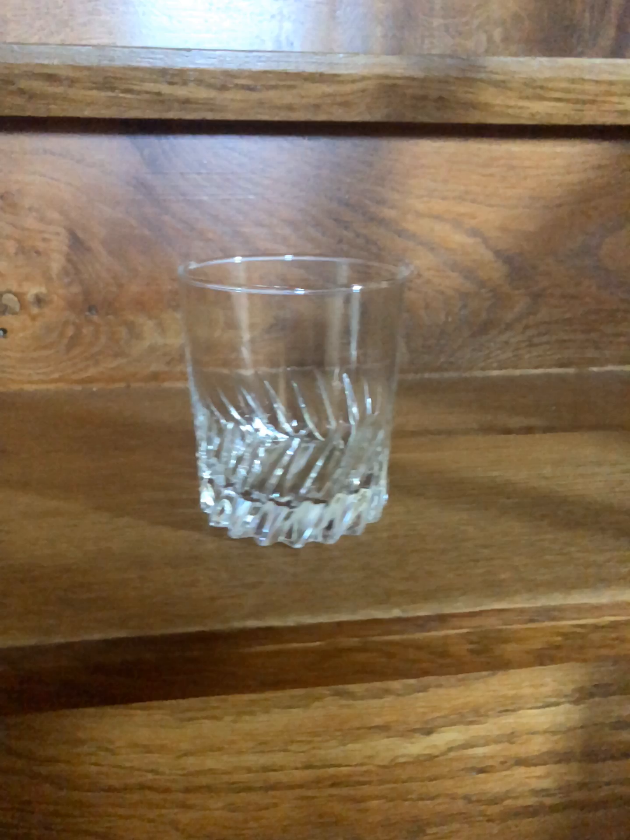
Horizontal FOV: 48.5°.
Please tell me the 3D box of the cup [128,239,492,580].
[{"bbox_3d":[-0.003,-0.015,0.257,0.090,0.090,0.090,0,19,0],"label":"cup"}]
